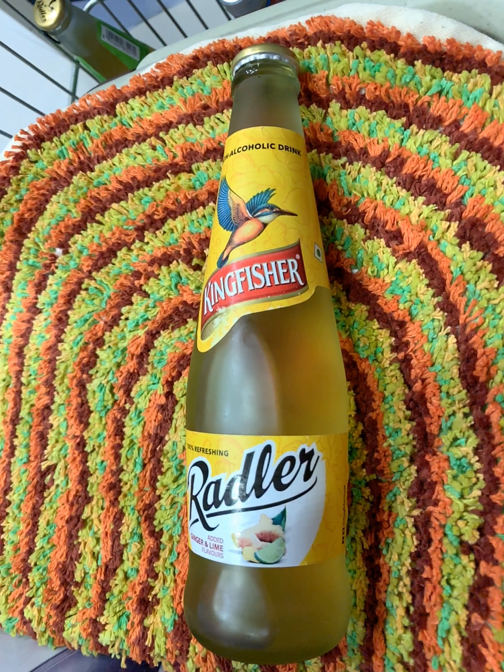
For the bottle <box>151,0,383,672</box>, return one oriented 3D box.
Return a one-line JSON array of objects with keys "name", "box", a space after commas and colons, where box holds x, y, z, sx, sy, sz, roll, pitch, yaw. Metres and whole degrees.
[{"name": "bottle", "box": [0.009, -0.010, 0.191, 0.060, 0.060, 0.220, -2, 83, 27]}]
